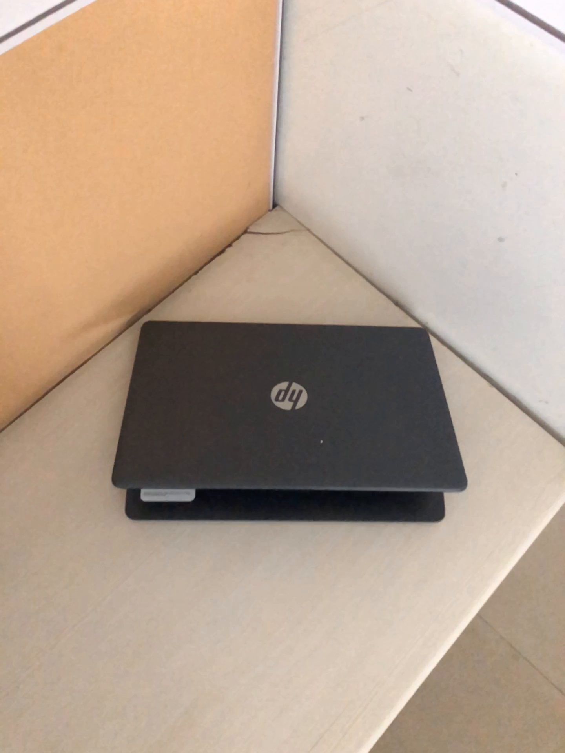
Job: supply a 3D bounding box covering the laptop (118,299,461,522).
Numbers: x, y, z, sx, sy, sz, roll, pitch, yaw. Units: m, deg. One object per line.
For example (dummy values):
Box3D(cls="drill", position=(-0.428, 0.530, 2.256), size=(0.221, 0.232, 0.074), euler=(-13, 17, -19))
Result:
Box3D(cls="laptop", position=(0.006, 0.040, 0.731), size=(0.361, 0.074, 0.238), euler=(1, 70, -3))
